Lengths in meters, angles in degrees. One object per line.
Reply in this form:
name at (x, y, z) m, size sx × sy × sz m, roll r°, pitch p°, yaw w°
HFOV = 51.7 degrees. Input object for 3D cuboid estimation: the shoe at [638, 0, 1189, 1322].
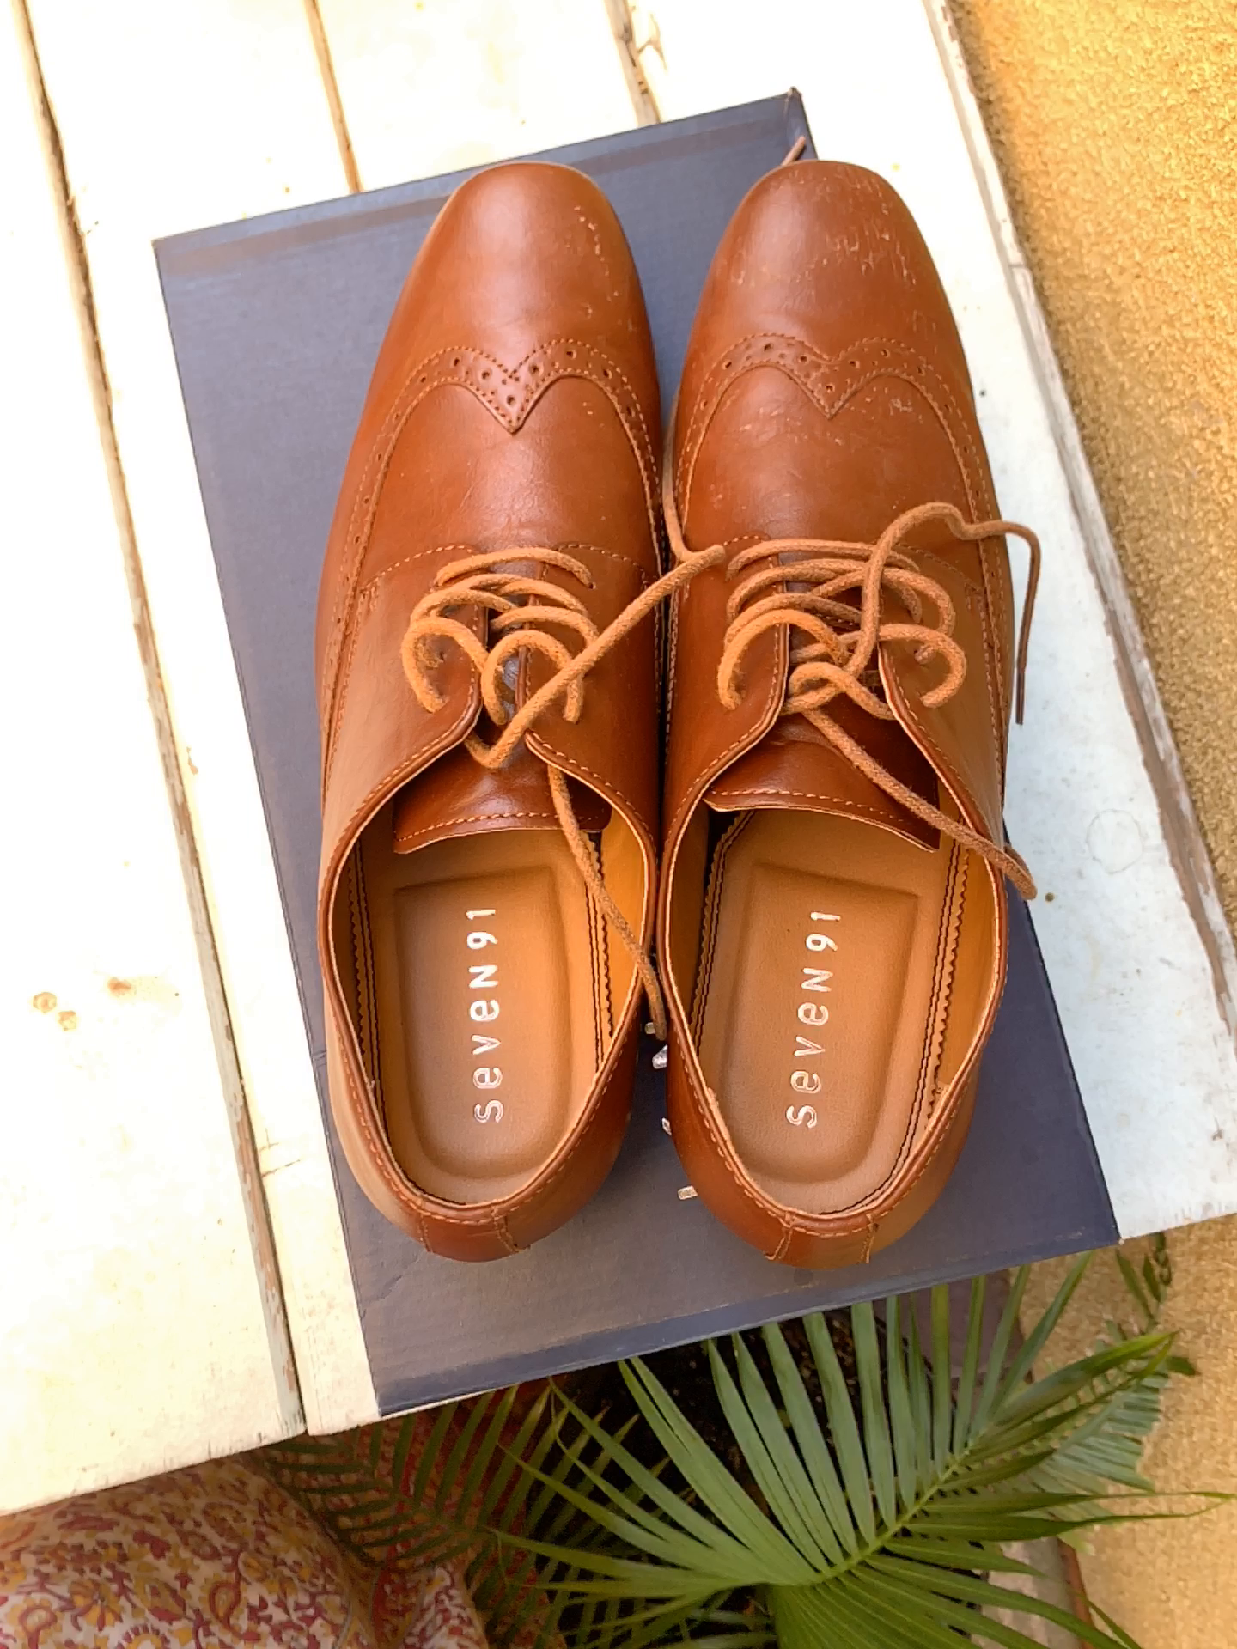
shoe at (0.065, -0.045, 0.327) m, size 0.110 × 0.100 × 0.300 m, roll 2°, pitch 82°, yaw 2°

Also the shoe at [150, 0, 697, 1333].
shoe at (-0.037, -0.041, 0.330) m, size 0.104 × 0.100 × 0.300 m, roll 2°, pitch 82°, yaw 2°
